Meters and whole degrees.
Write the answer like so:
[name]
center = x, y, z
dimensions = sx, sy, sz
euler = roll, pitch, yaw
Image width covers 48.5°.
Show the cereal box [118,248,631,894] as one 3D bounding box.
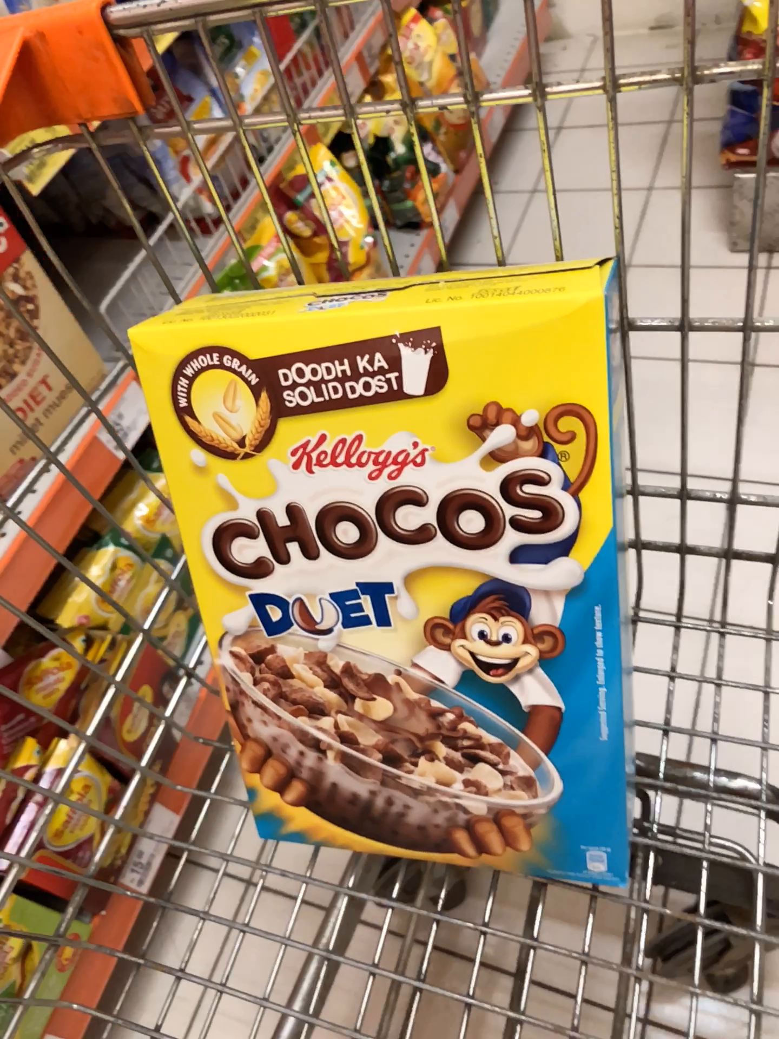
[cereal box]
center = 0.009, 0.028, 0.381
dimensions = 0.180, 0.259, 0.070
euler = 0, 25, 19
